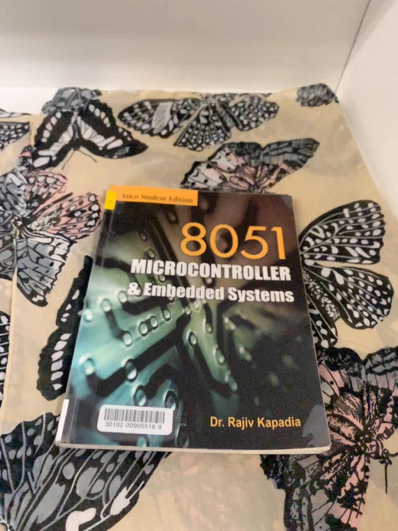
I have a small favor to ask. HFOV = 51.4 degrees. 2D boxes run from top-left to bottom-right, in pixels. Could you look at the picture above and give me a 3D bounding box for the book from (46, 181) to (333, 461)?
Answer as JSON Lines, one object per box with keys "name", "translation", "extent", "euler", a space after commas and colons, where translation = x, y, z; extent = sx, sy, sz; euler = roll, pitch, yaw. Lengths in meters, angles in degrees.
{"name": "book", "translation": [-0.003, 0.026, 0.340], "extent": [0.183, 0.020, 0.237], "euler": [3, 55, -2]}
